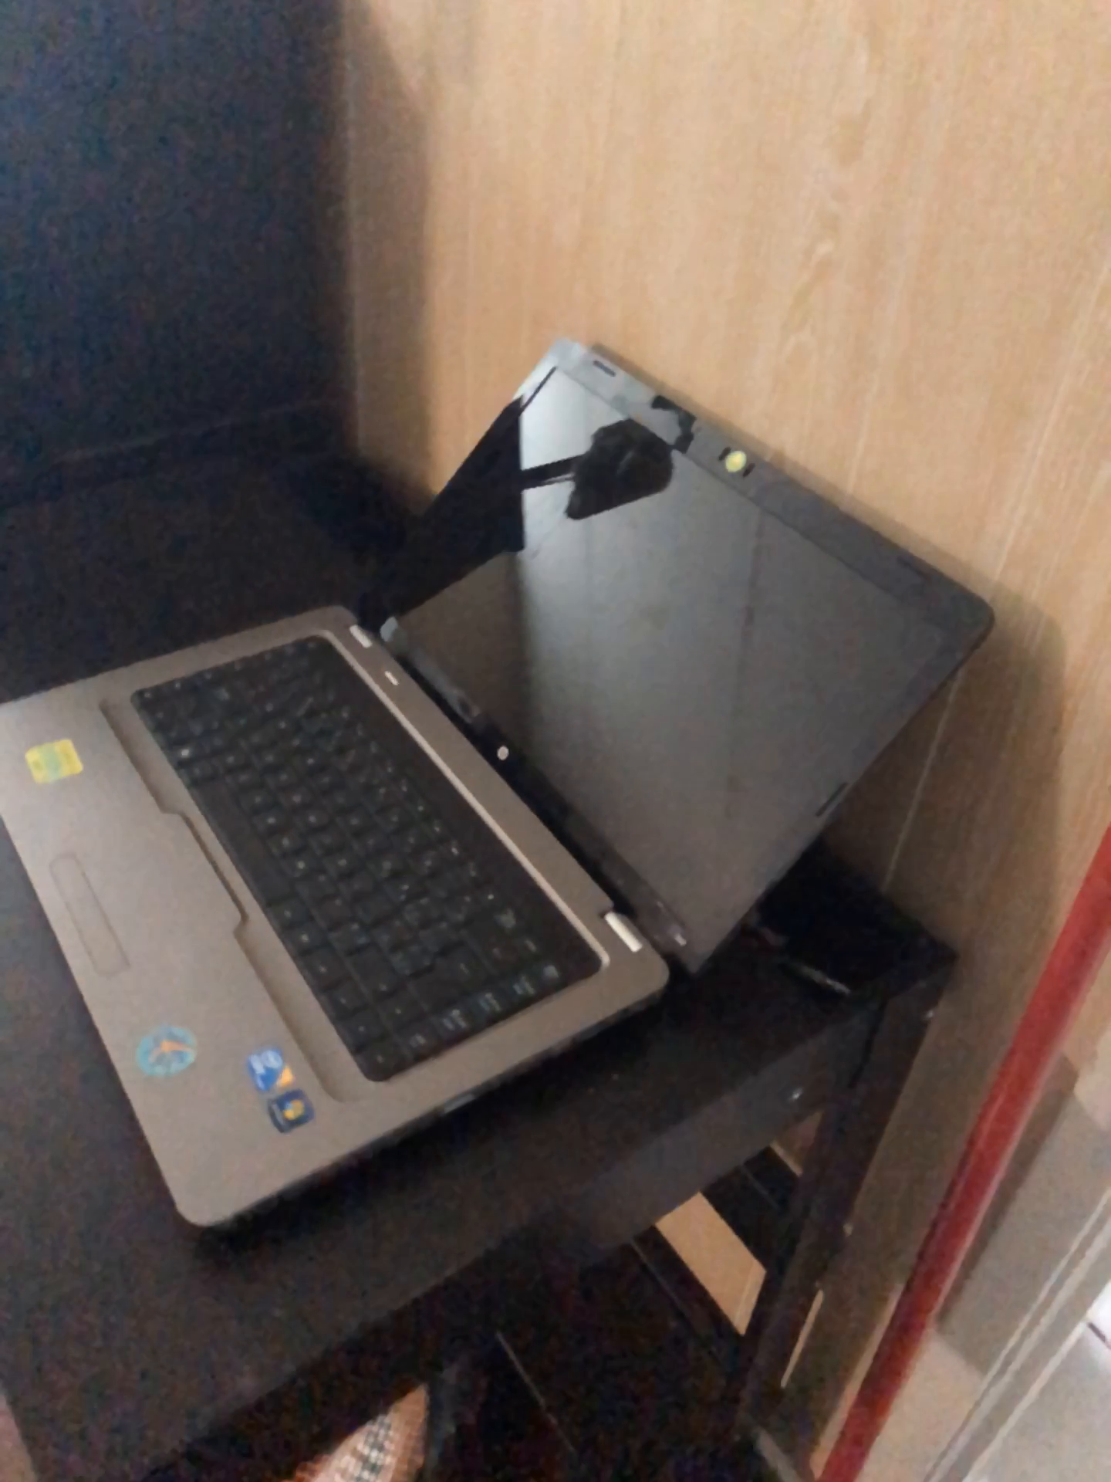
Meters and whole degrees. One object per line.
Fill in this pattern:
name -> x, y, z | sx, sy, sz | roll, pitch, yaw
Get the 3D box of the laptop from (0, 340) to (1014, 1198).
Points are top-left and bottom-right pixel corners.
laptop -> -0.060, -0.042, 0.652 | 0.419, 0.154, 0.365 | -21, 46, -27
